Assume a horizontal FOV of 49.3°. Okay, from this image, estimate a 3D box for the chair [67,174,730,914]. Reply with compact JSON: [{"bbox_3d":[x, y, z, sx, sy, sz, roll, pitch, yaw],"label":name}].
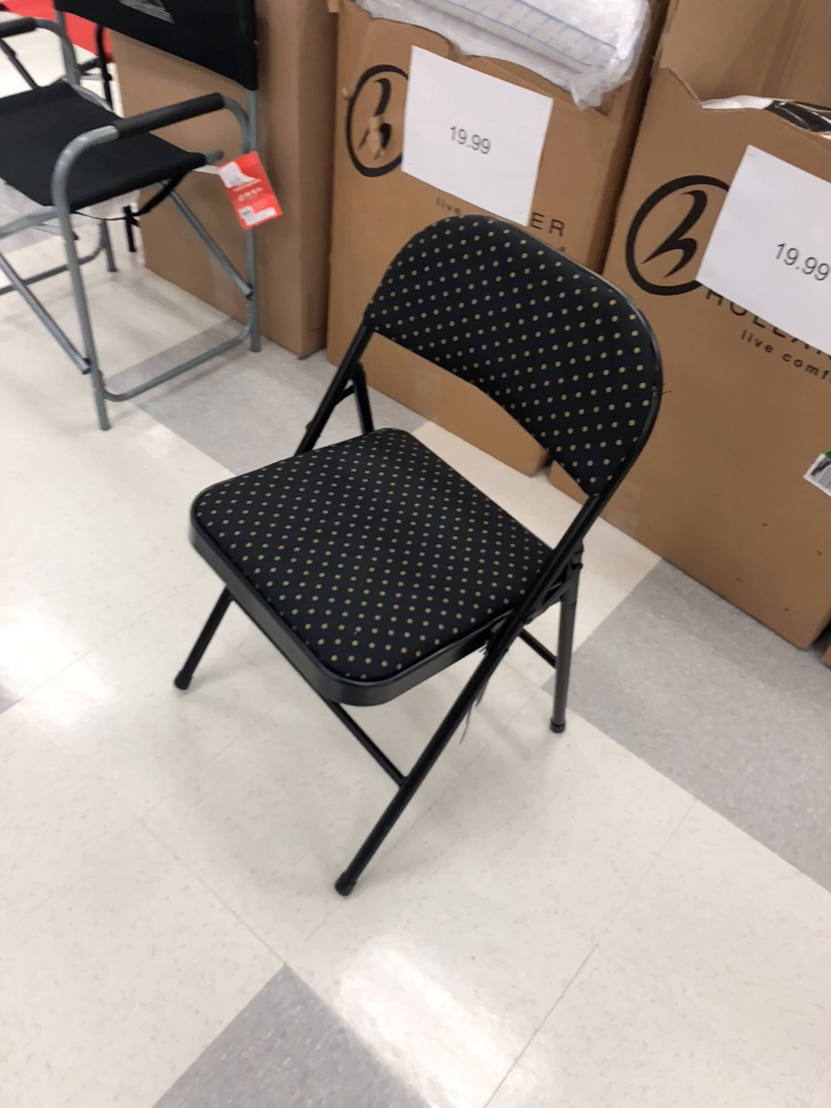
[{"bbox_3d":[-0.041,-0.011,1.247,0.540,0.730,0.485,-29,56,-30],"label":"chair"}]
